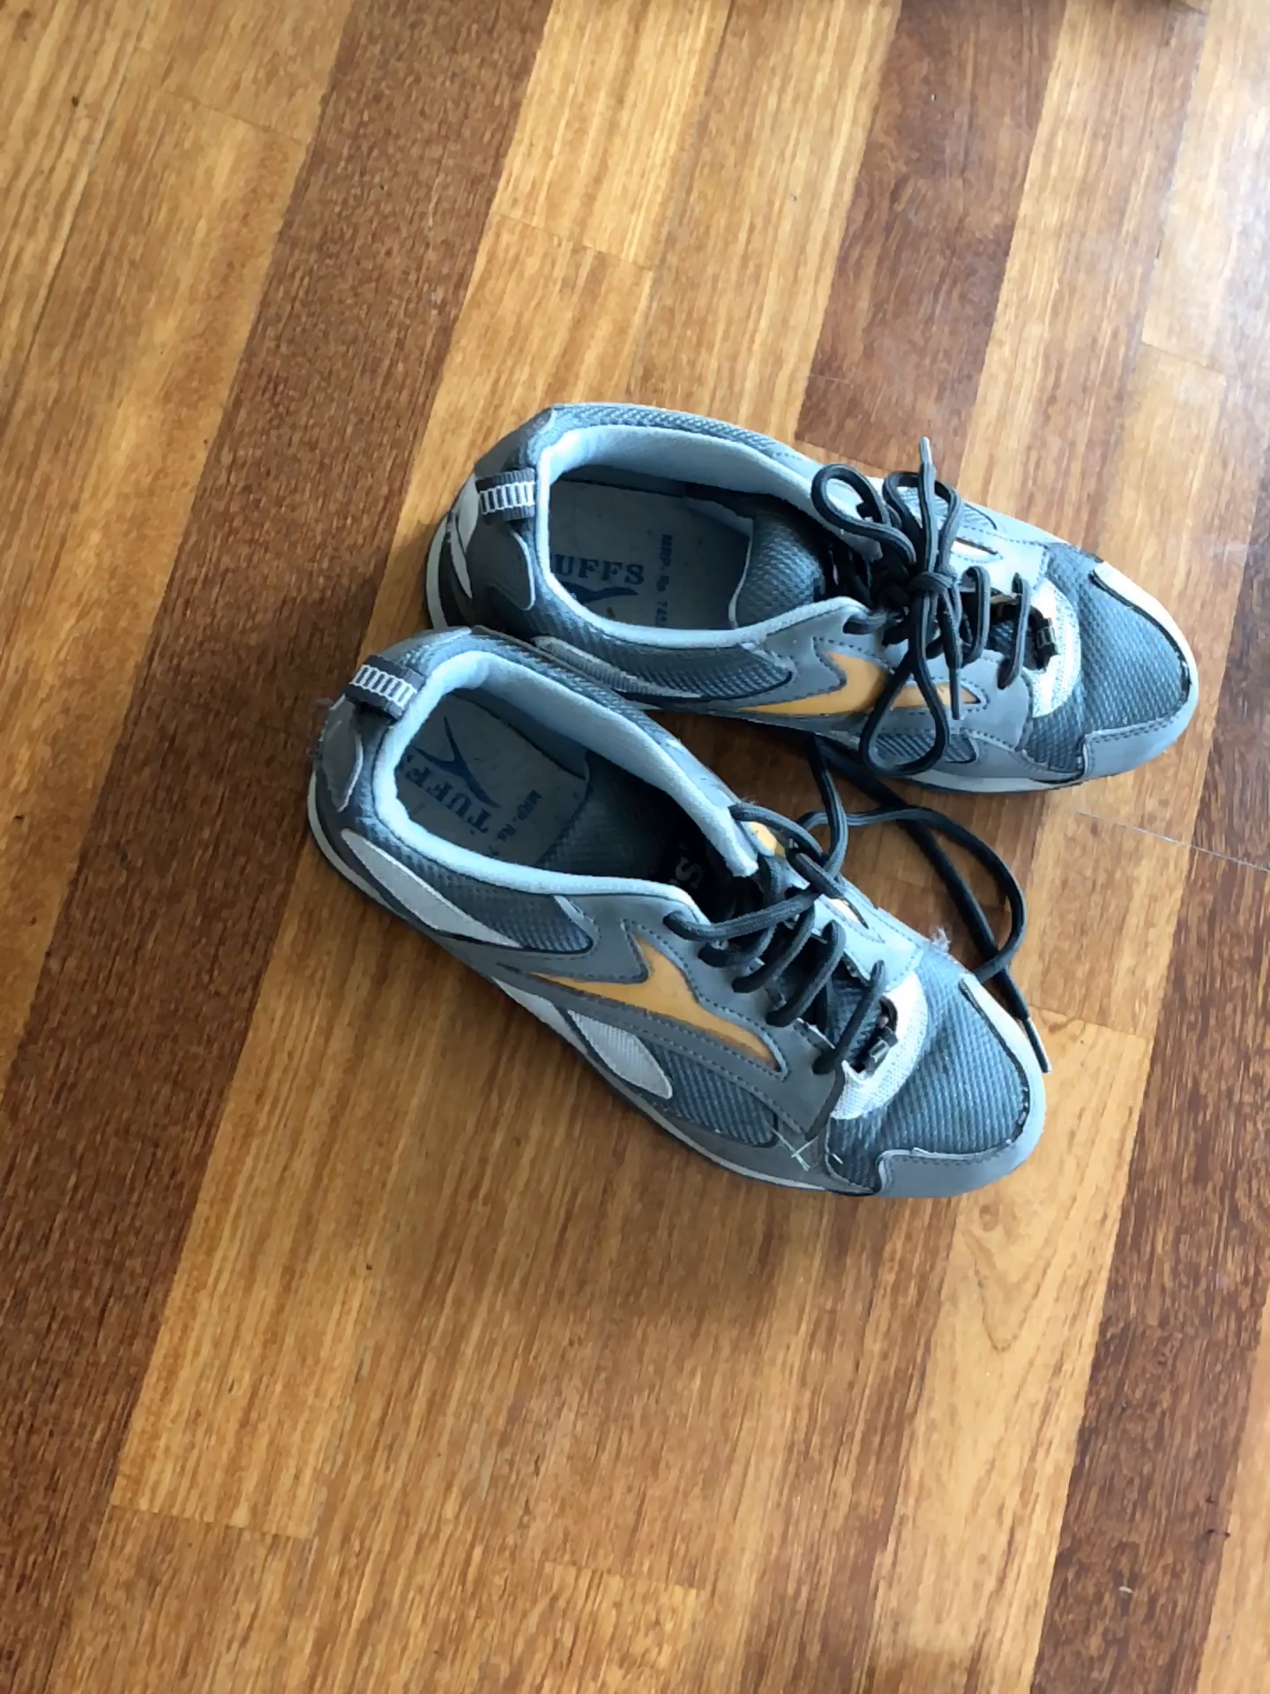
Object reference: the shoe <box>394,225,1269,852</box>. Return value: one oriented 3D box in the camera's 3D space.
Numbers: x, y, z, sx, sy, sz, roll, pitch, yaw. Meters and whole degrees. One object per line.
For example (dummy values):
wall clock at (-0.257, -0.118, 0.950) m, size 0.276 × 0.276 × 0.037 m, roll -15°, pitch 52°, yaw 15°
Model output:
shoe at (0.076, -0.086, 0.457) m, size 0.283 × 0.099 × 0.112 m, roll 11°, pitch 79°, yaw -12°

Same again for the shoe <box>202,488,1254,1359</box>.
shoe at (0.027, 0.029, 0.423) m, size 0.283 × 0.088 × 0.110 m, roll 31°, pitch 75°, yaw -8°
